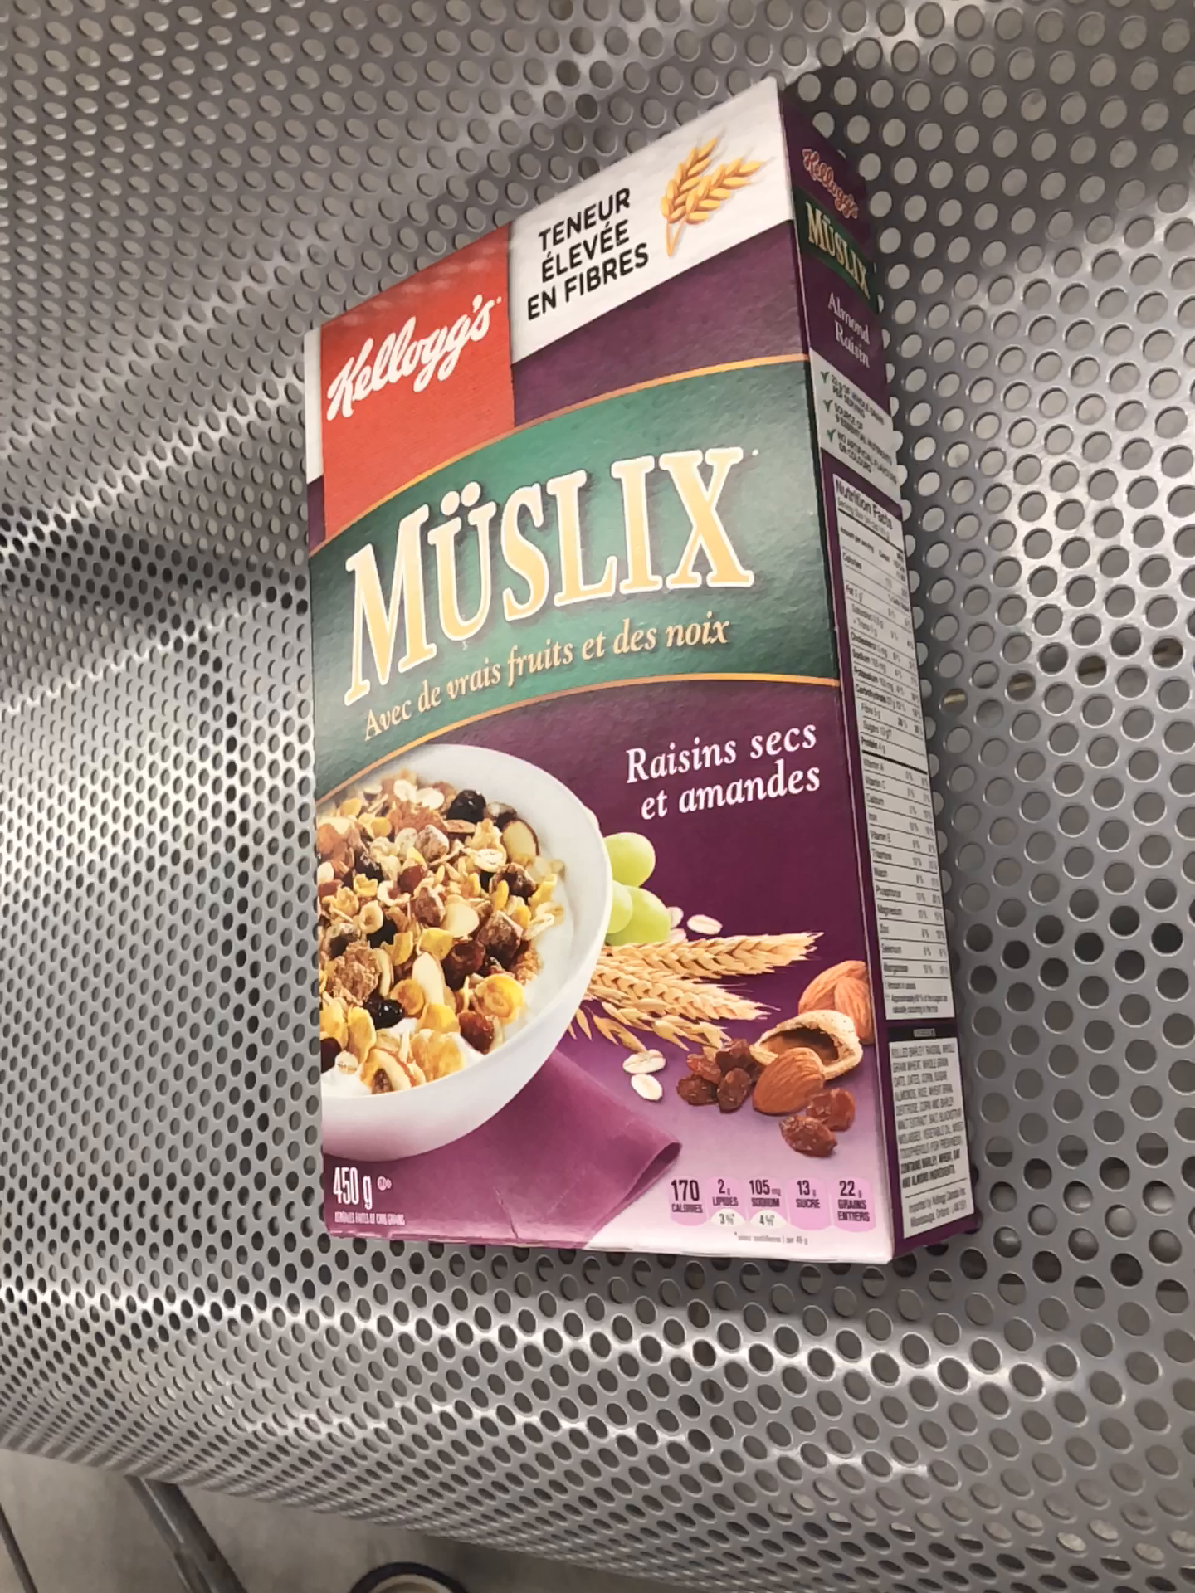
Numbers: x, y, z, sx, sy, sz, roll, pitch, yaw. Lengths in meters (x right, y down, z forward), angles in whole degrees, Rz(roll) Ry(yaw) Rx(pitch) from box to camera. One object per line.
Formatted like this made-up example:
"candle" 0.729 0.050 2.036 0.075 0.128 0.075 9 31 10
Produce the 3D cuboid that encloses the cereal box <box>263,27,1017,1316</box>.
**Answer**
"cereal box" -0.006 -0.020 0.330 0.181 0.050 0.260 -11 77 37
